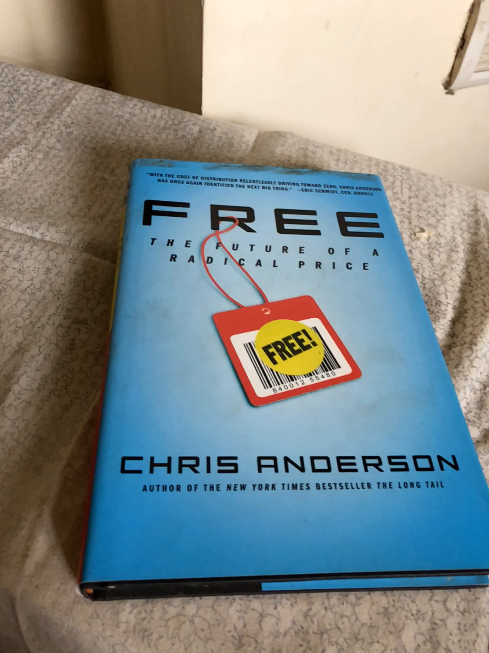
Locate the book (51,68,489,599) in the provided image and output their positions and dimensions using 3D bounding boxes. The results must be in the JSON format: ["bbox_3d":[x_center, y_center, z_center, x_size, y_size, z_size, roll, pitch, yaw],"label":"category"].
[{"bbox_3d":[0.030,-0.034,0.256,0.180,0.040,0.281,0,49,-5],"label":"book"}]
